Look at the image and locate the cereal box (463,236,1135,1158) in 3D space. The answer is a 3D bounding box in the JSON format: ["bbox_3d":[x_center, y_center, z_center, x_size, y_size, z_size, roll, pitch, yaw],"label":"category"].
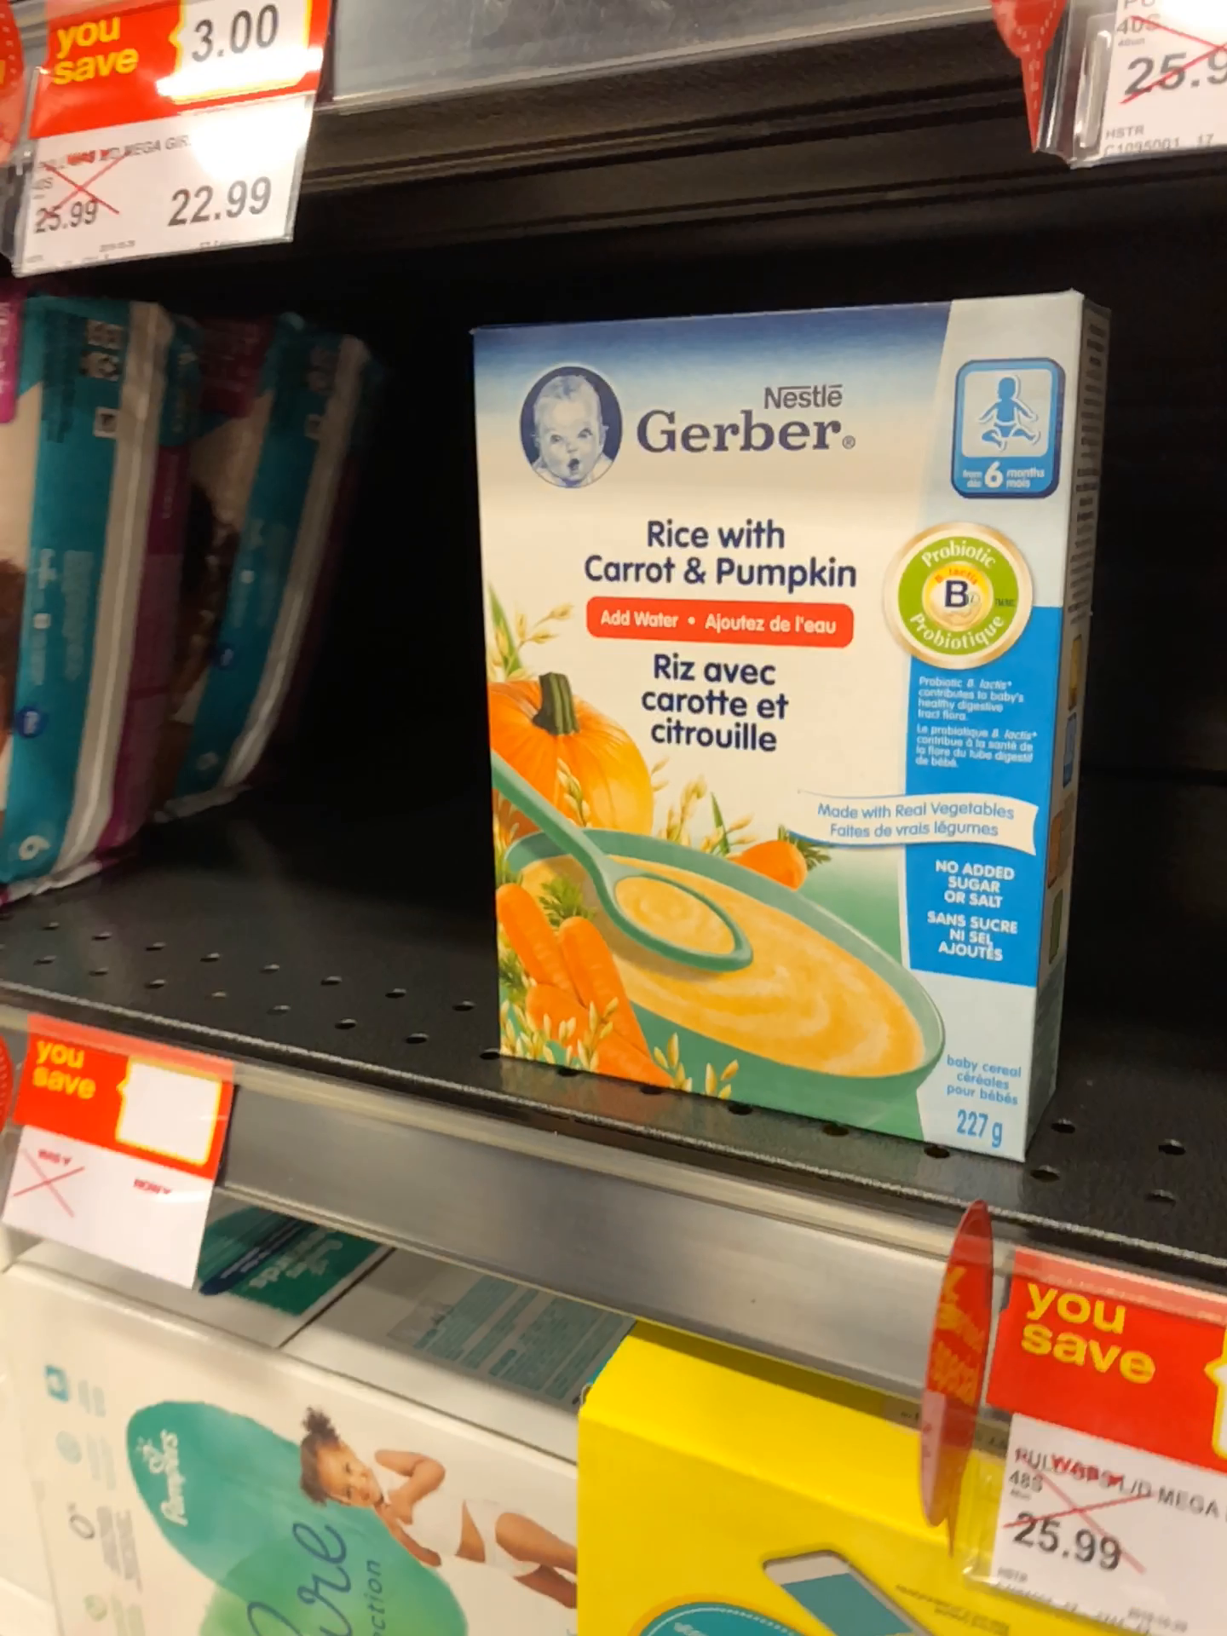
[{"bbox_3d":[0.041,-0.030,0.343,0.150,0.199,0.040,6,16,26],"label":"cereal box"}]
